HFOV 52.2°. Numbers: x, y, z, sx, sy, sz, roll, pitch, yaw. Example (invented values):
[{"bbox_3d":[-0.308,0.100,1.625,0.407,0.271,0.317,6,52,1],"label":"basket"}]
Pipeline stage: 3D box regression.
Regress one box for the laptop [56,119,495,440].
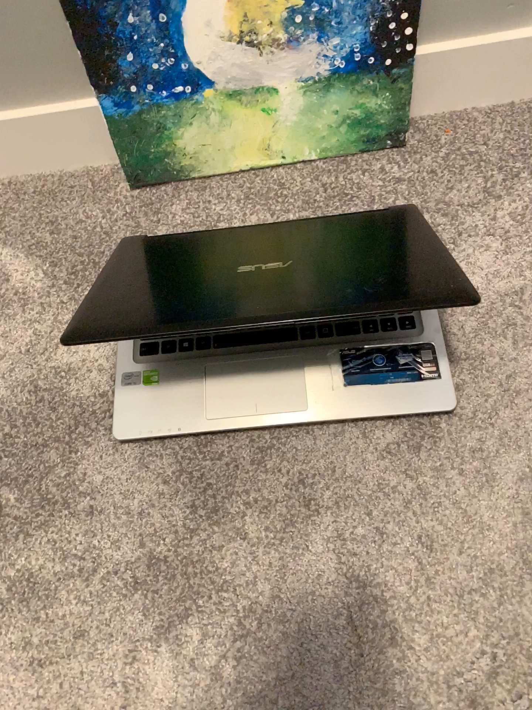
[{"bbox_3d":[0.000,-0.070,0.548,0.354,0.134,0.253,-6,66,4],"label":"laptop"}]
